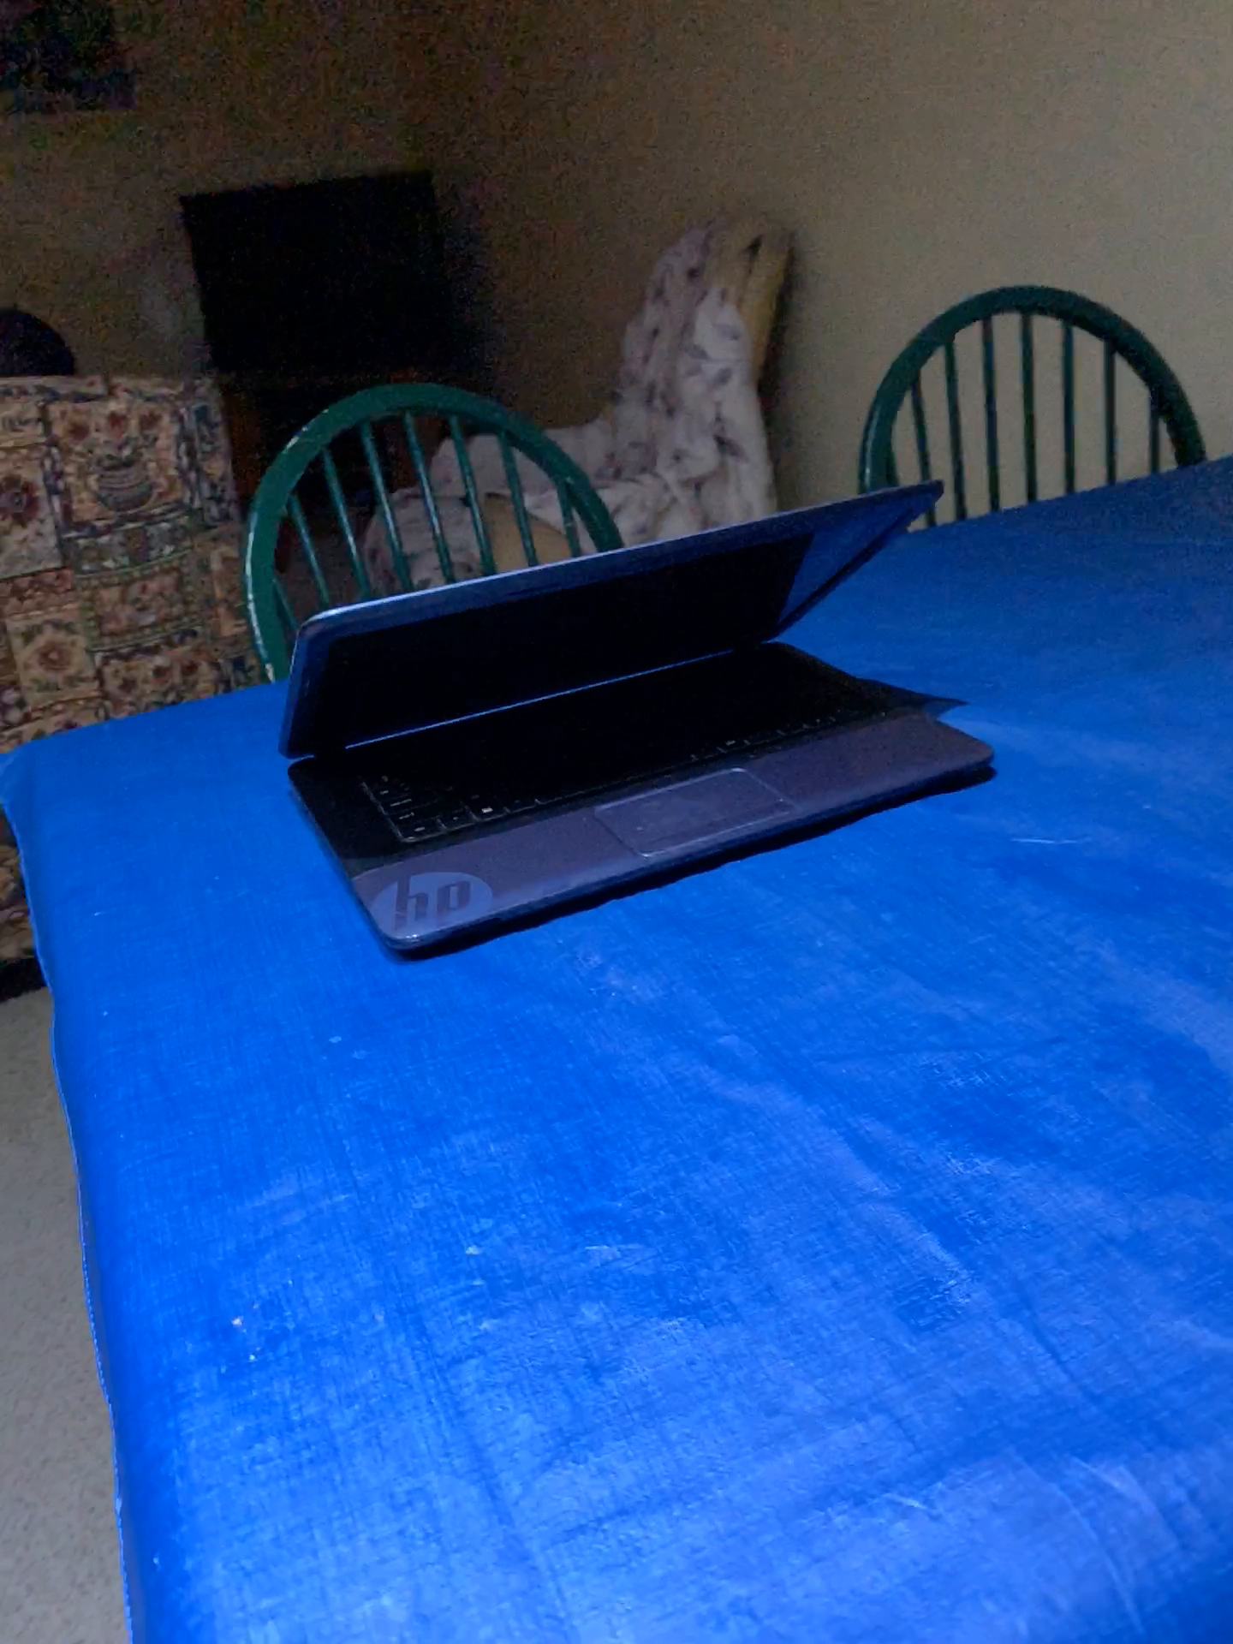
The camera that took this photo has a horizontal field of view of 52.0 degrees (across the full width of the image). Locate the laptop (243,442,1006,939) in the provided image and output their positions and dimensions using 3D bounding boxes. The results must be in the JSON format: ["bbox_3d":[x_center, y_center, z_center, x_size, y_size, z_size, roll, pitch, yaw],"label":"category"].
[{"bbox_3d":[-0.001,-0.103,0.744,0.363,0.141,0.240,-17,29,-20],"label":"laptop"}]
